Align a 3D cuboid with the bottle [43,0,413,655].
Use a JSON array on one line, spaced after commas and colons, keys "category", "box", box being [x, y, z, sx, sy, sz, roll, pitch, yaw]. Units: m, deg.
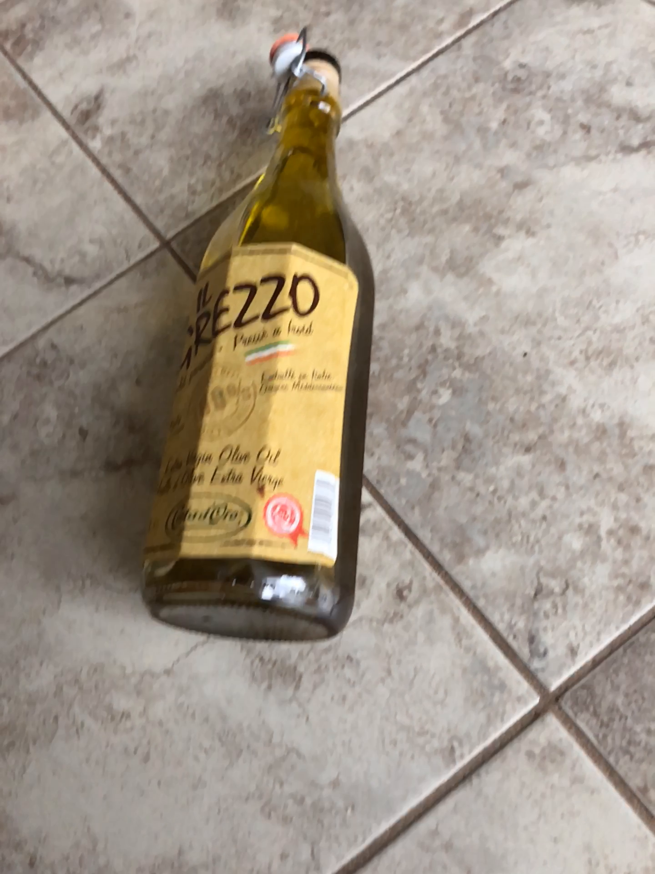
[{"category": "bottle", "box": [-0.019, -0.089, 0.345, 0.090, 0.100, 0.350, 1, 64, 13]}]
